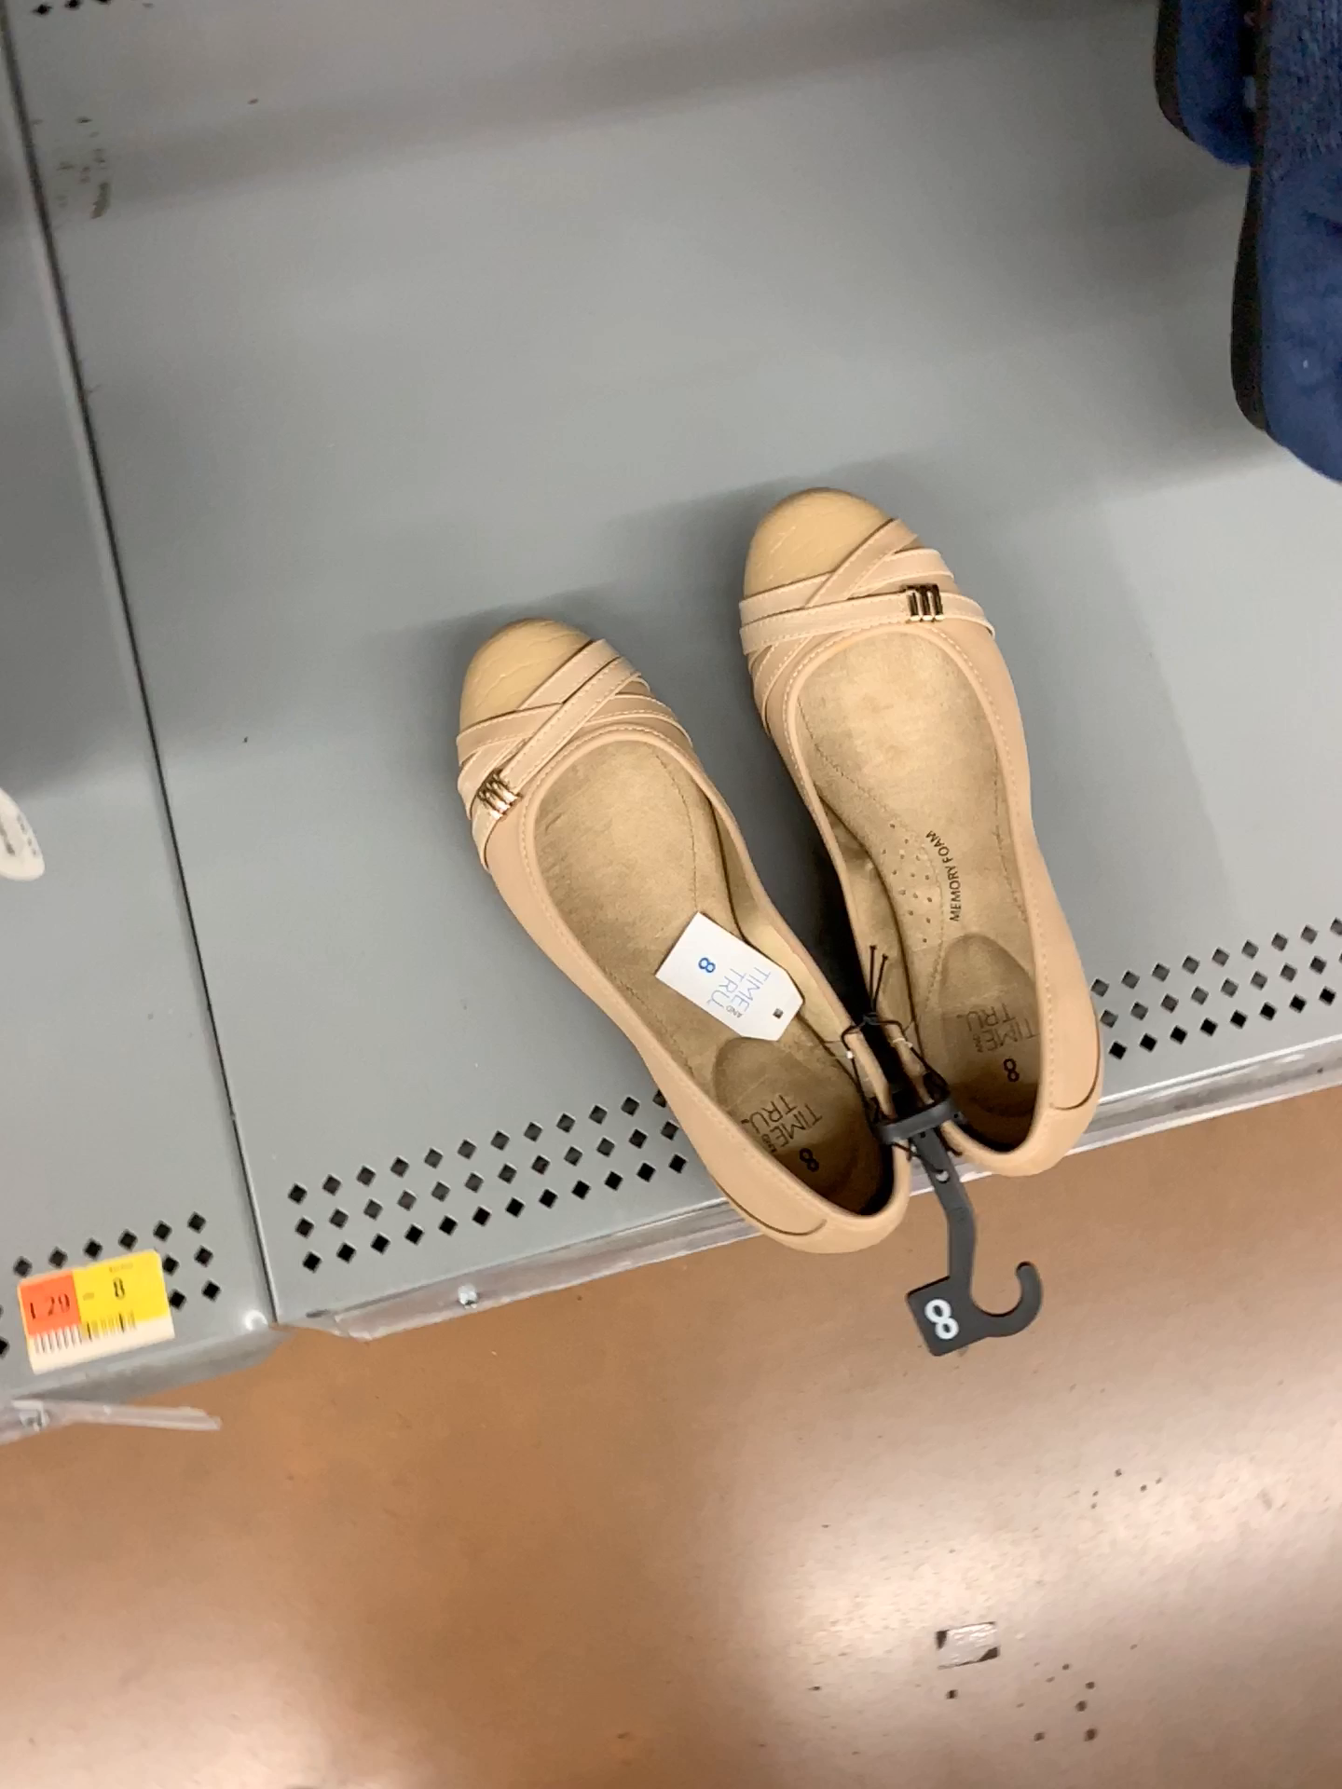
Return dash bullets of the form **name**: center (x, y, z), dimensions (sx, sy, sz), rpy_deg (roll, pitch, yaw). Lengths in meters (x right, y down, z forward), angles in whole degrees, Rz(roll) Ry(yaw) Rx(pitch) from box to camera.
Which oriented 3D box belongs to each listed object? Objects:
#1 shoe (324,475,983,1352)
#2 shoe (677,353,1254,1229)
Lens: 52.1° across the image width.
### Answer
- **shoe**: center (-0.011, 0.007, 0.507), dimensions (0.100, 0.100, 0.280), rpy_deg (-28, 85, -7)
- **shoe**: center (0.096, -0.034, 0.506), dimensions (0.100, 0.100, 0.280), rpy_deg (-17, 84, -6)
